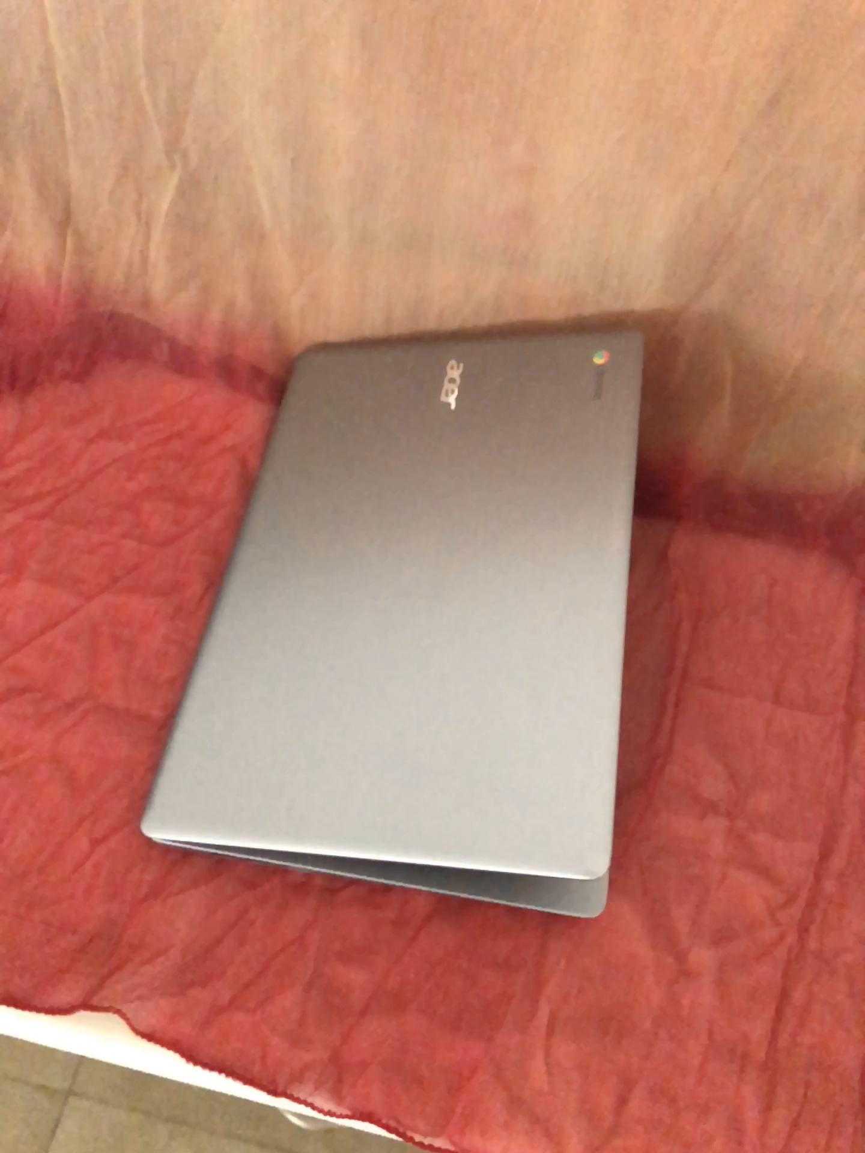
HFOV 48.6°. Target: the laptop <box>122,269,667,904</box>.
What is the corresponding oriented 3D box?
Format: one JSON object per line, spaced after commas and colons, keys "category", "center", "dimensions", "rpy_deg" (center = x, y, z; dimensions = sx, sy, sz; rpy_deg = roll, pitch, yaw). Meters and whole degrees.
{"category": "laptop", "center": [0.001, -0.017, 0.511], "dimensions": [0.219, 0.065, 0.323], "rpy_deg": [8, 58, 5]}
